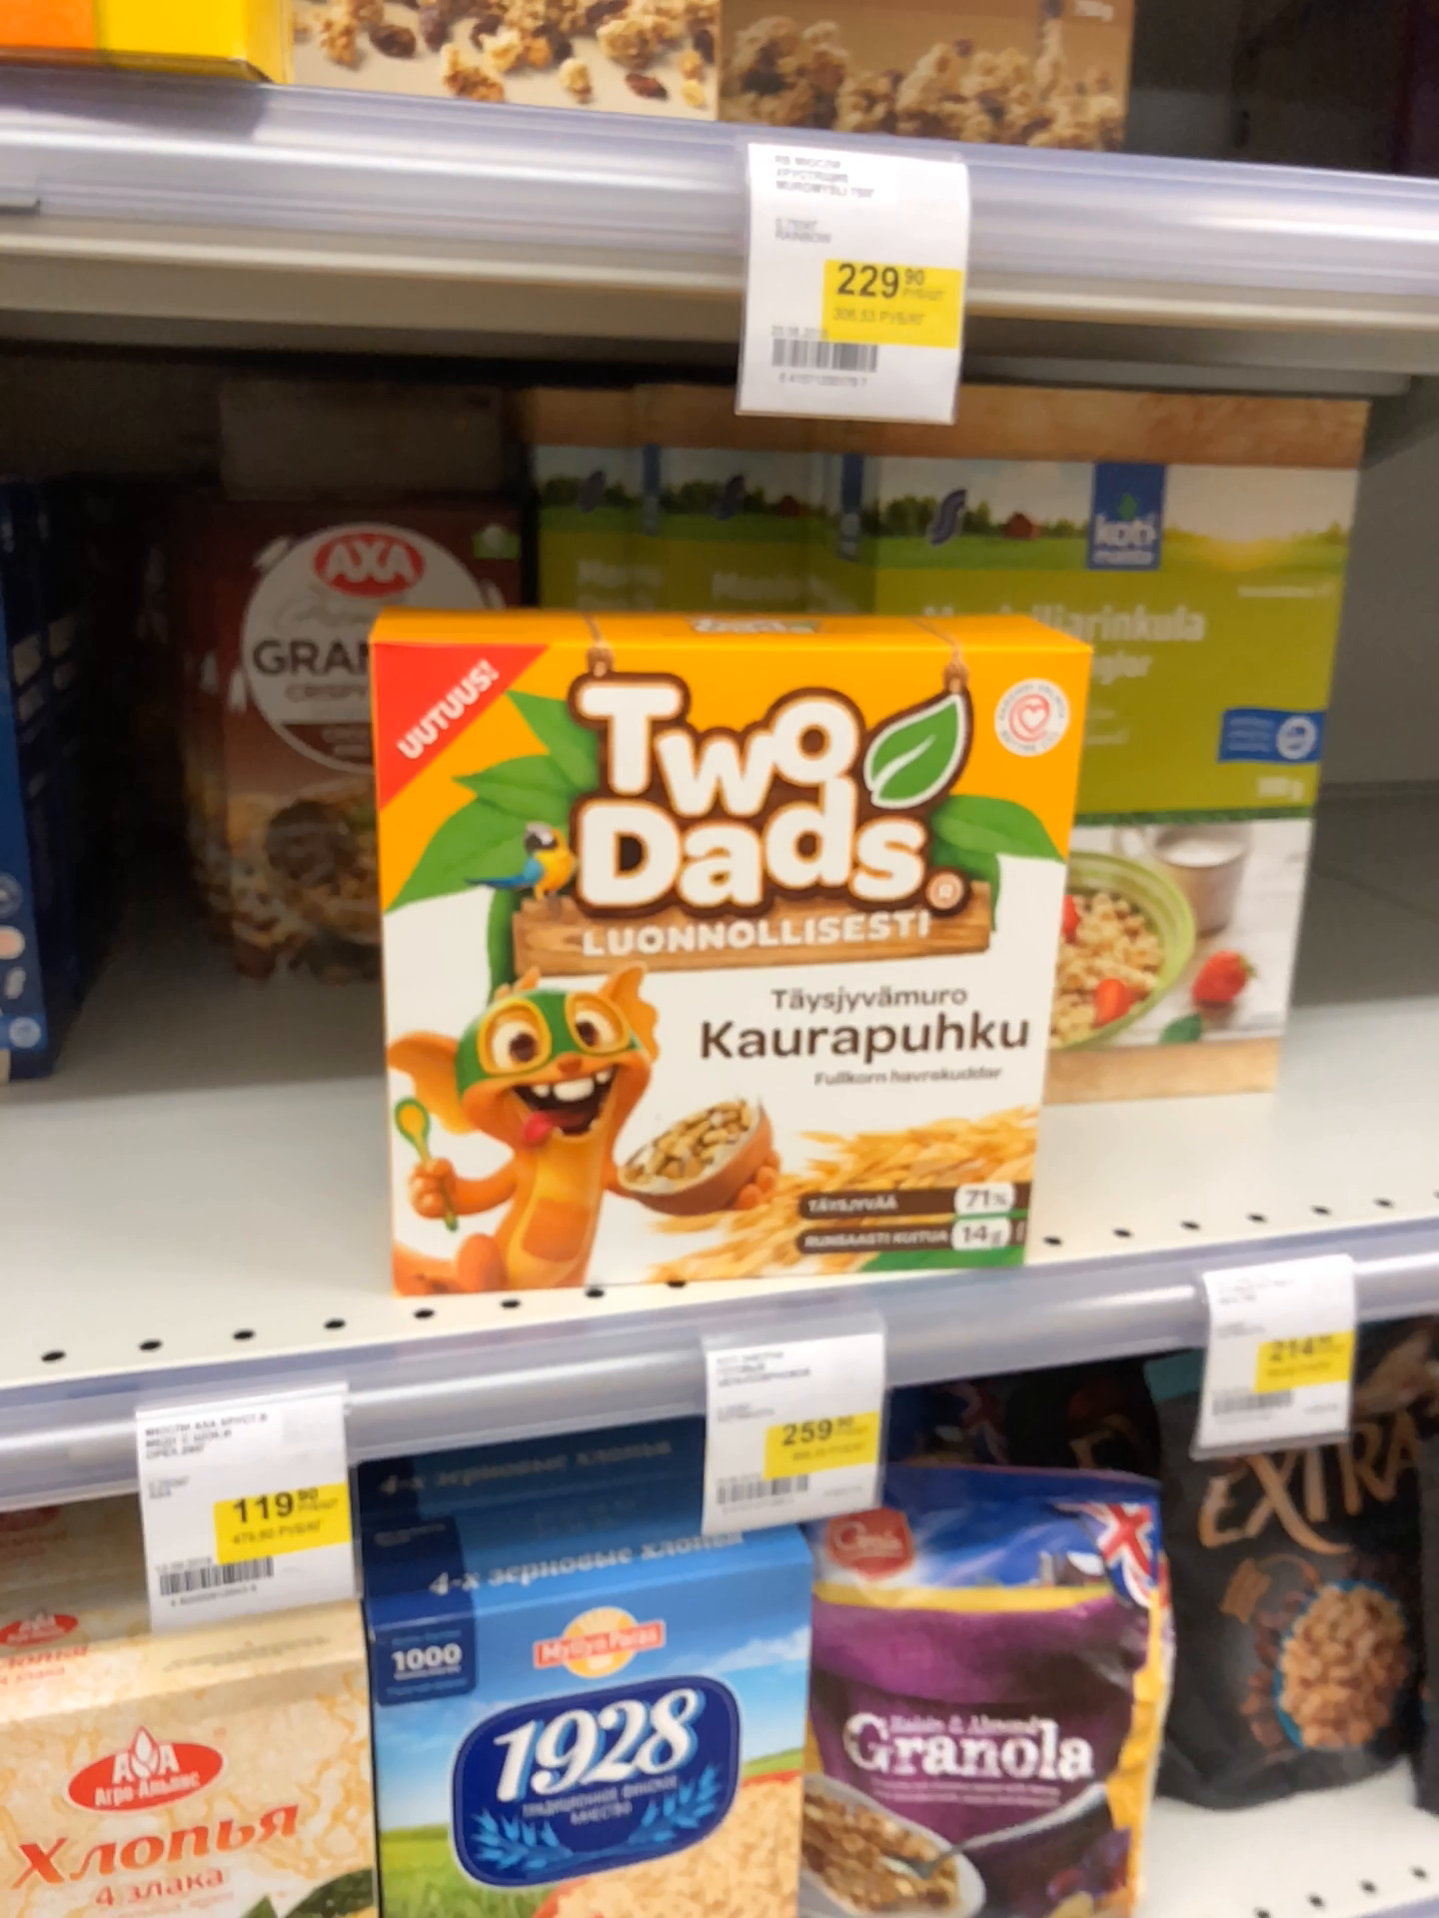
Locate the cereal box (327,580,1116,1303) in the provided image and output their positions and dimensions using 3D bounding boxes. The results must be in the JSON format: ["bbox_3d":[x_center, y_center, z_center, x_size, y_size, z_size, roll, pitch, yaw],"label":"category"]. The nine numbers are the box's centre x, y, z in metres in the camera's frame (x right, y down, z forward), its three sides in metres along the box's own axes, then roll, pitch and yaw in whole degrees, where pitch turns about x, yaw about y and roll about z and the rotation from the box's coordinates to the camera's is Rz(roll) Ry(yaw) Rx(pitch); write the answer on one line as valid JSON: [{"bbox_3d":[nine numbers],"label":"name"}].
[{"bbox_3d":[-0.003,-0.008,0.464,0.200,0.189,0.070,-1,18,-9],"label":"cereal box"}]
